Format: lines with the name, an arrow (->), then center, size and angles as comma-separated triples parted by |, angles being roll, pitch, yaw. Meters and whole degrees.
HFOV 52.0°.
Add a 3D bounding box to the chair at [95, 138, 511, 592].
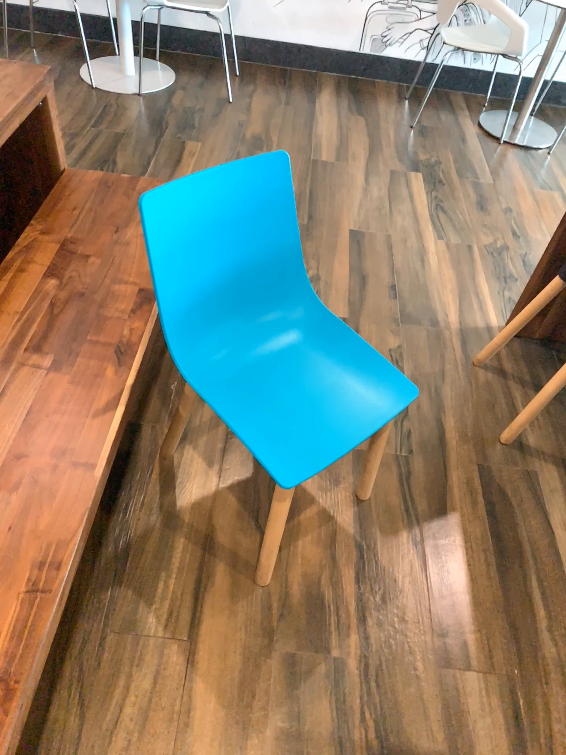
chair -> -0.004, -0.038, 1.300 | 0.512, 0.665, 0.583 | -28, 57, -30
